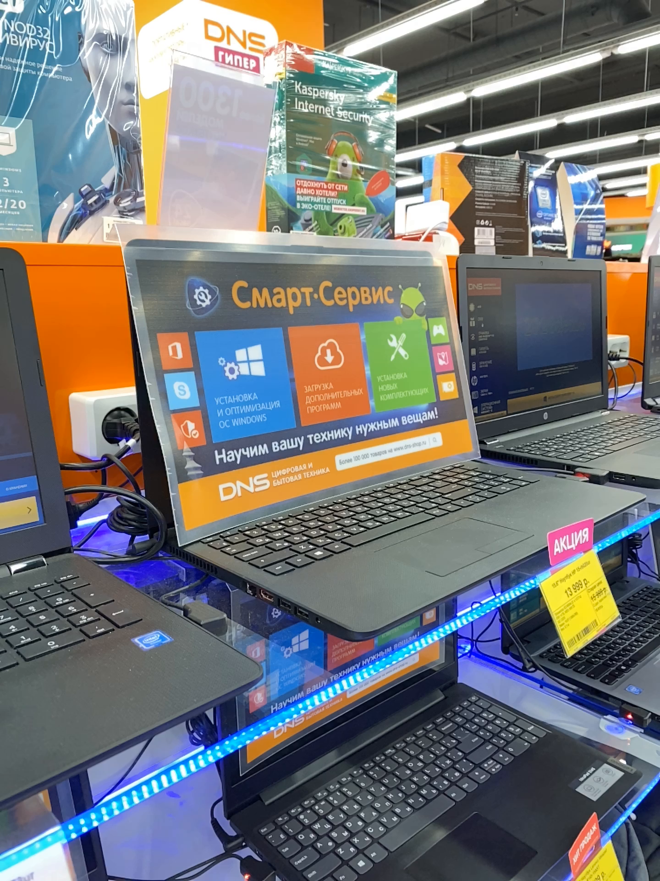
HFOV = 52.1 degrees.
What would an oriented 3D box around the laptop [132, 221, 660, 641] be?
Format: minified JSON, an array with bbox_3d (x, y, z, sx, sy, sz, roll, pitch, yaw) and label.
[{"bbox_3d":[0.069,-0.049,0.591,0.377,0.235,0.262,-11,15,-40],"label":"laptop"}]
